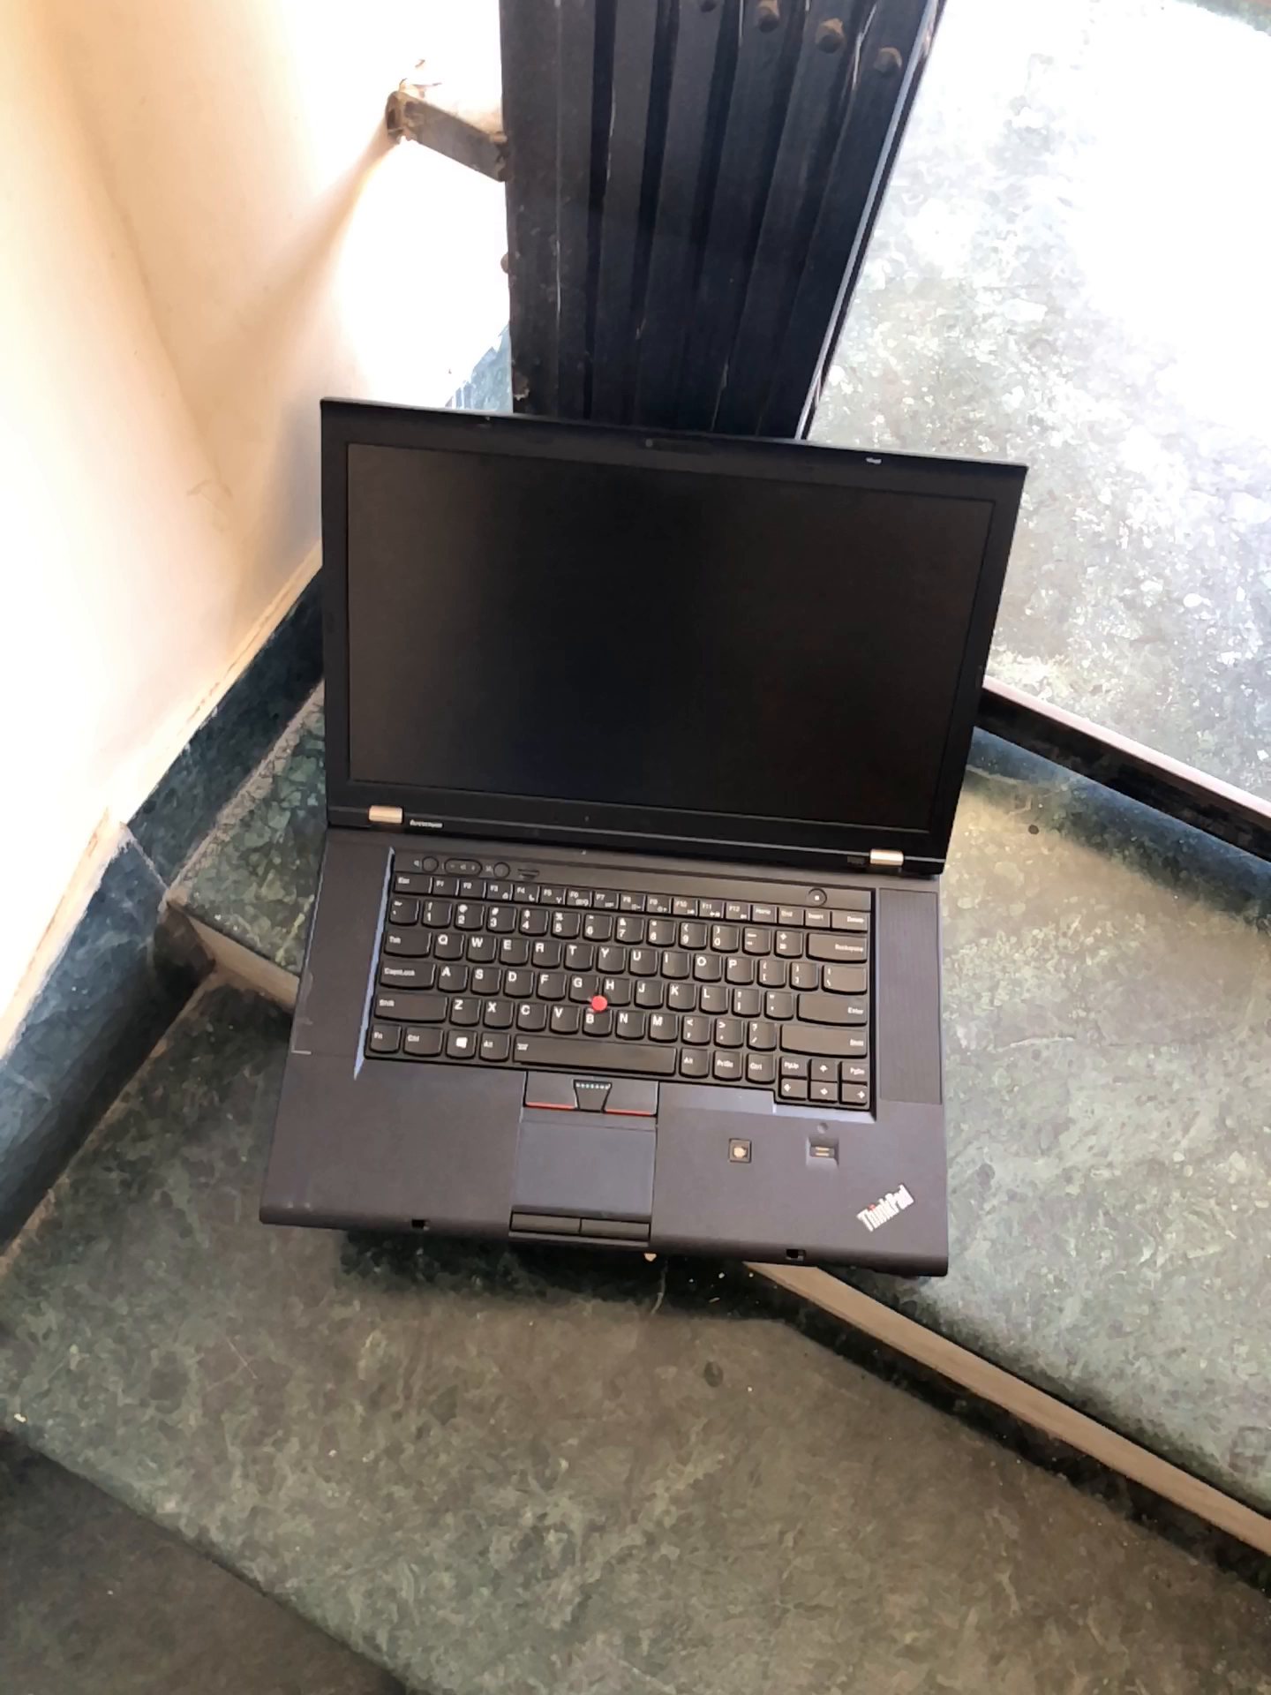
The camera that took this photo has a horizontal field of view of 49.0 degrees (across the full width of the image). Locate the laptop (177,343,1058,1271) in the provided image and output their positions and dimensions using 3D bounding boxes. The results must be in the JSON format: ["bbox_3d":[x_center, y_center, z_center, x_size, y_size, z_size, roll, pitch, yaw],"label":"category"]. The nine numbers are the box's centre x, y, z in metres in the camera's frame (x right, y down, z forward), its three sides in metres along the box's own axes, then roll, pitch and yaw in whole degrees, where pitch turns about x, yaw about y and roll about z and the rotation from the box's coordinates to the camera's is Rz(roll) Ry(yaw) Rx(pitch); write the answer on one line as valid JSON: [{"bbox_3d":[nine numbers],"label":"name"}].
[{"bbox_3d":[0.002,-0.014,0.714,0.359,0.182,0.388,5,69,-1],"label":"laptop"}]
